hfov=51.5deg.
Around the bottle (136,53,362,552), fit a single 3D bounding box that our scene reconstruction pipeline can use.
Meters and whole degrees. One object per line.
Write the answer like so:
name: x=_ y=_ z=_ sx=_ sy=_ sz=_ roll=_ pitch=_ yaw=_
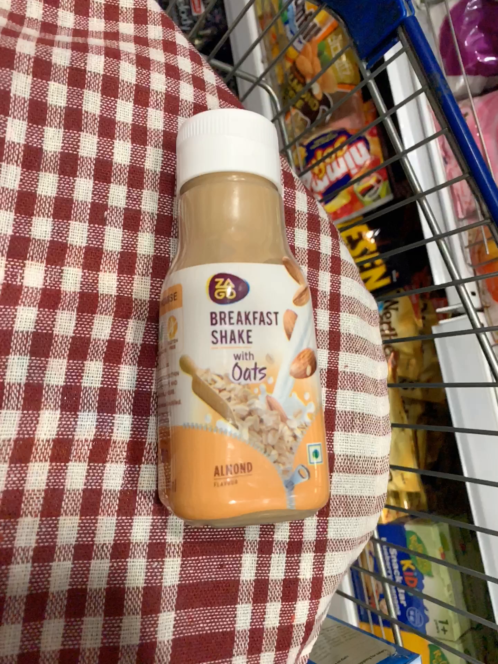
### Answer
bottle: x=-0.001 y=-0.008 z=0.180 sx=0.060 sy=0.050 sz=0.140 roll=3 pitch=85 yaw=-27
